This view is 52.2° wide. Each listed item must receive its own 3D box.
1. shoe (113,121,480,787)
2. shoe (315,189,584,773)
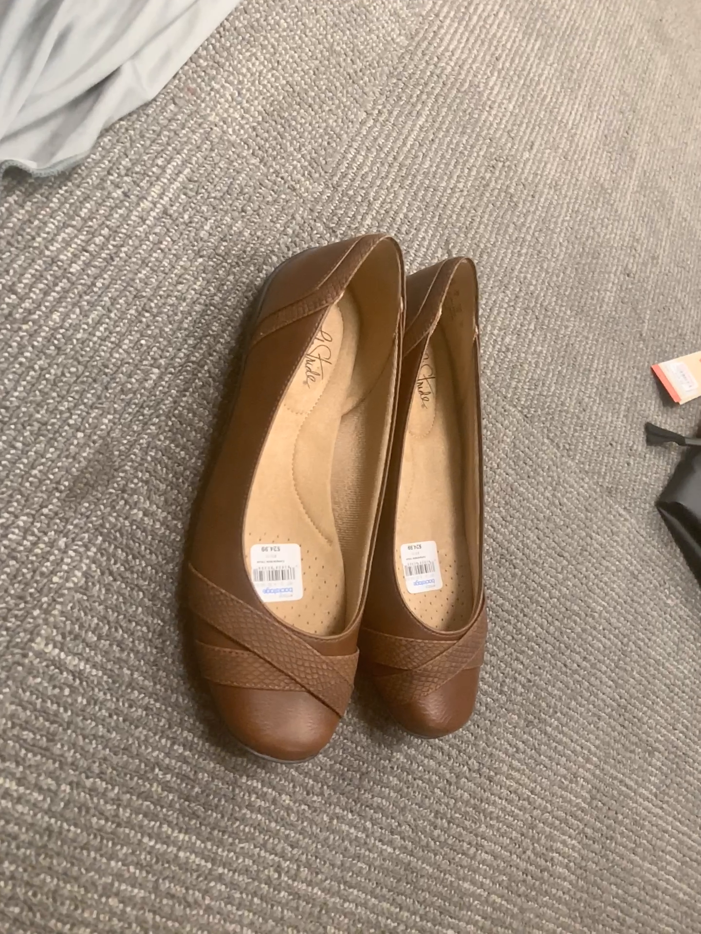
[{"bbox_3d":[-0.016,-0.005,0.335,0.100,0.084,0.269,21,68,-33],"label":"shoe"},{"bbox_3d":[0.048,0.007,0.389,0.099,0.084,0.271,6,77,-37],"label":"shoe"}]
